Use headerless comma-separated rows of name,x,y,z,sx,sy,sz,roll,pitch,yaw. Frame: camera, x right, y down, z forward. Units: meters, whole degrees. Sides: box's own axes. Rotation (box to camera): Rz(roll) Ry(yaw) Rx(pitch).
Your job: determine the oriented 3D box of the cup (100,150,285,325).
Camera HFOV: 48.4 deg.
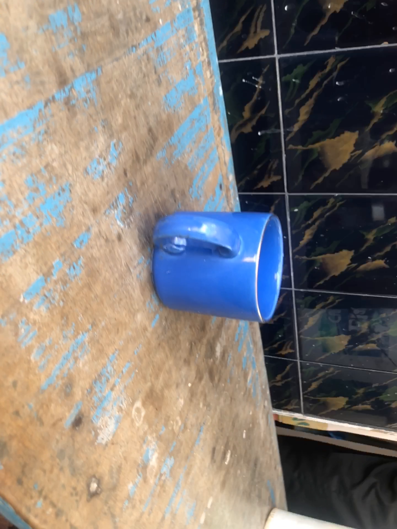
cup,0.006,-0.010,0.275,0.111,0.070,0.070,41,55,-64
